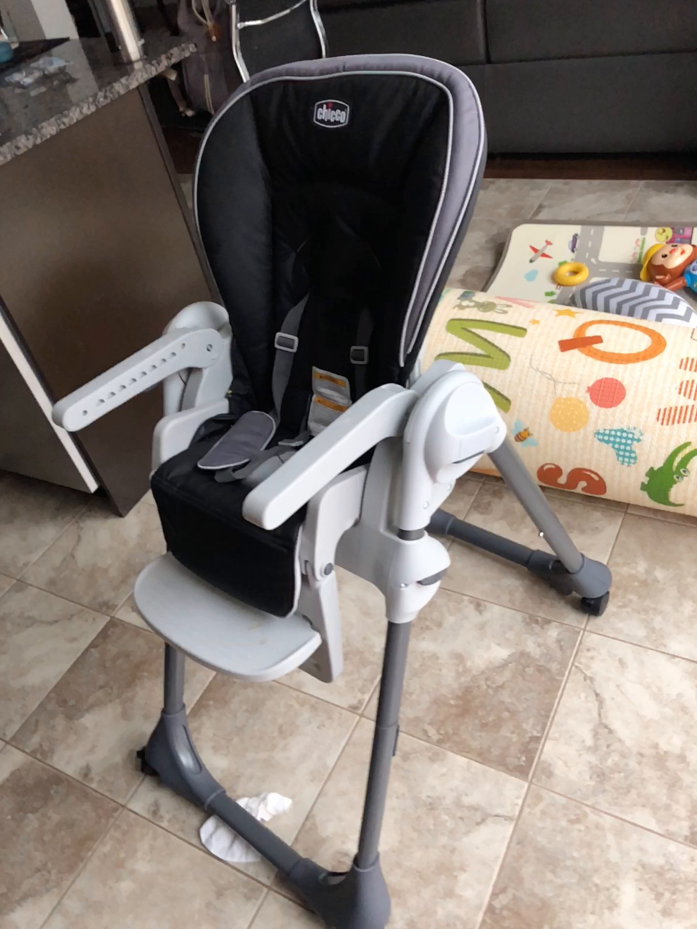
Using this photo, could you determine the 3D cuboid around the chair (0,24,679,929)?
[{"bbox_3d":[-0.043,0.028,1.173,0.652,0.996,0.881,22,52,35],"label":"chair"}]
